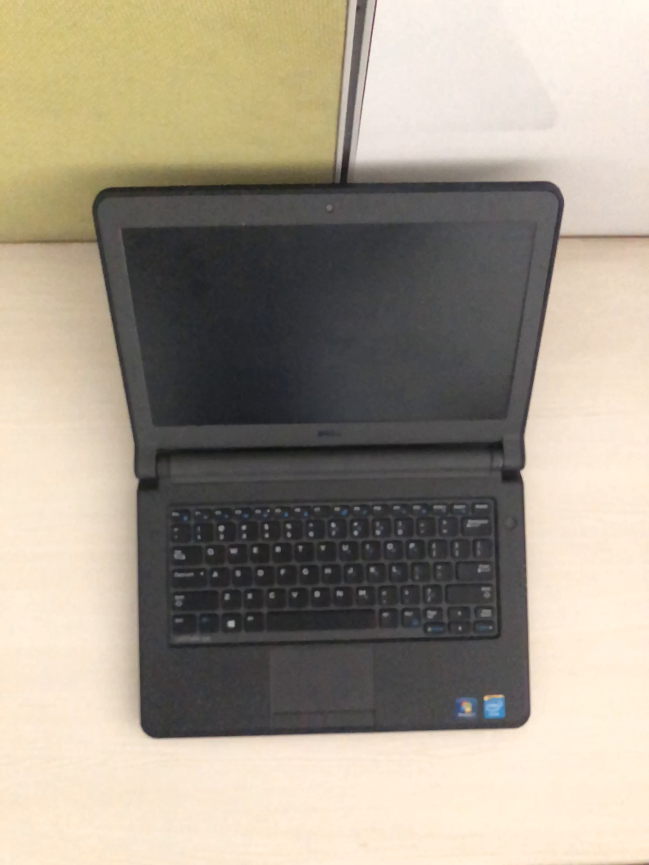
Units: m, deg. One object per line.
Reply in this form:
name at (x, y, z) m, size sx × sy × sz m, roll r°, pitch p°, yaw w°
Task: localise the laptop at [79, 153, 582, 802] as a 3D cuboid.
laptop at (0.006, 0.034, 0.529) m, size 0.316 × 0.123 × 0.415 m, roll -1°, pitch 91°, yaw -2°
